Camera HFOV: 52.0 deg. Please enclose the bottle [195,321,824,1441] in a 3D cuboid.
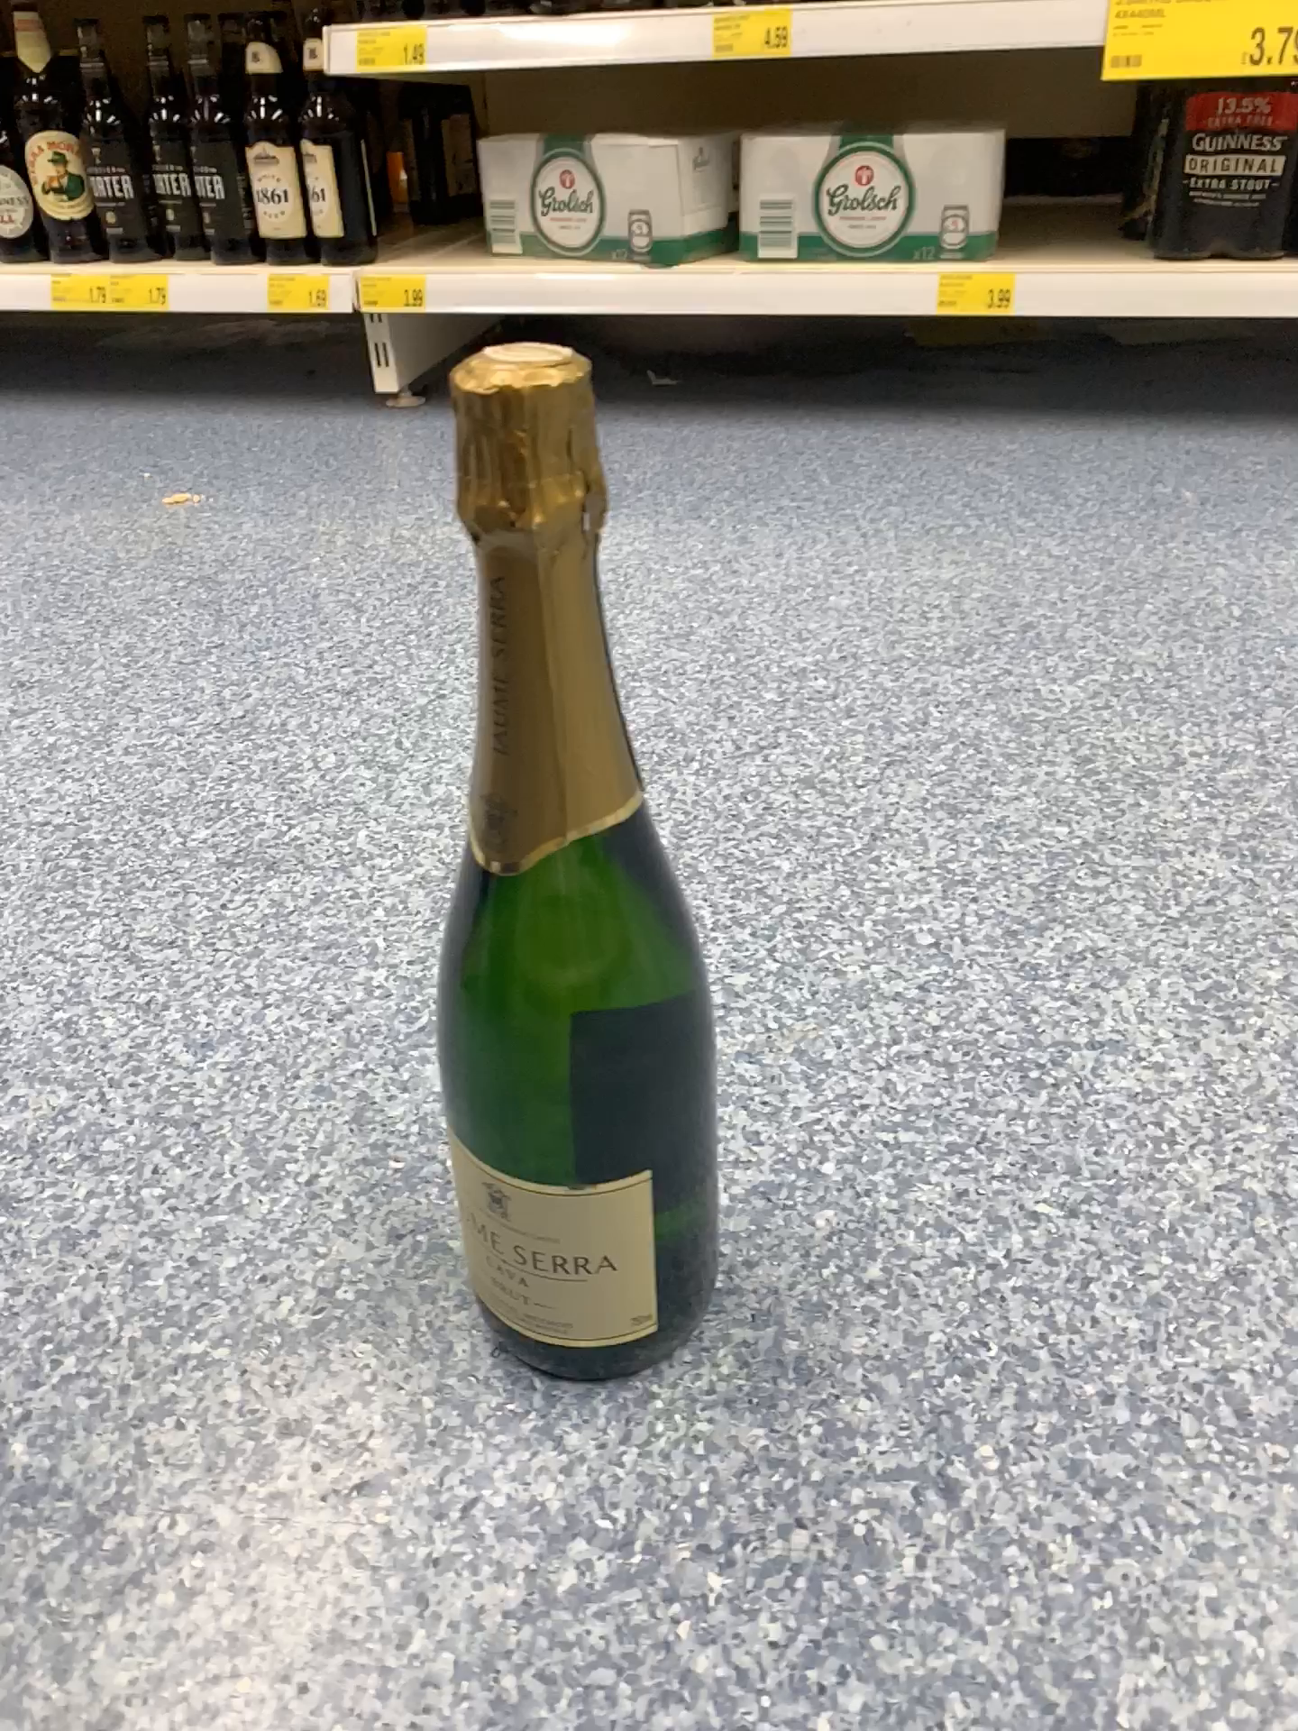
[{"bbox_3d":[-0.025,0.010,0.386,0.104,0.292,0.105,-2,31,1],"label":"bottle"}]
